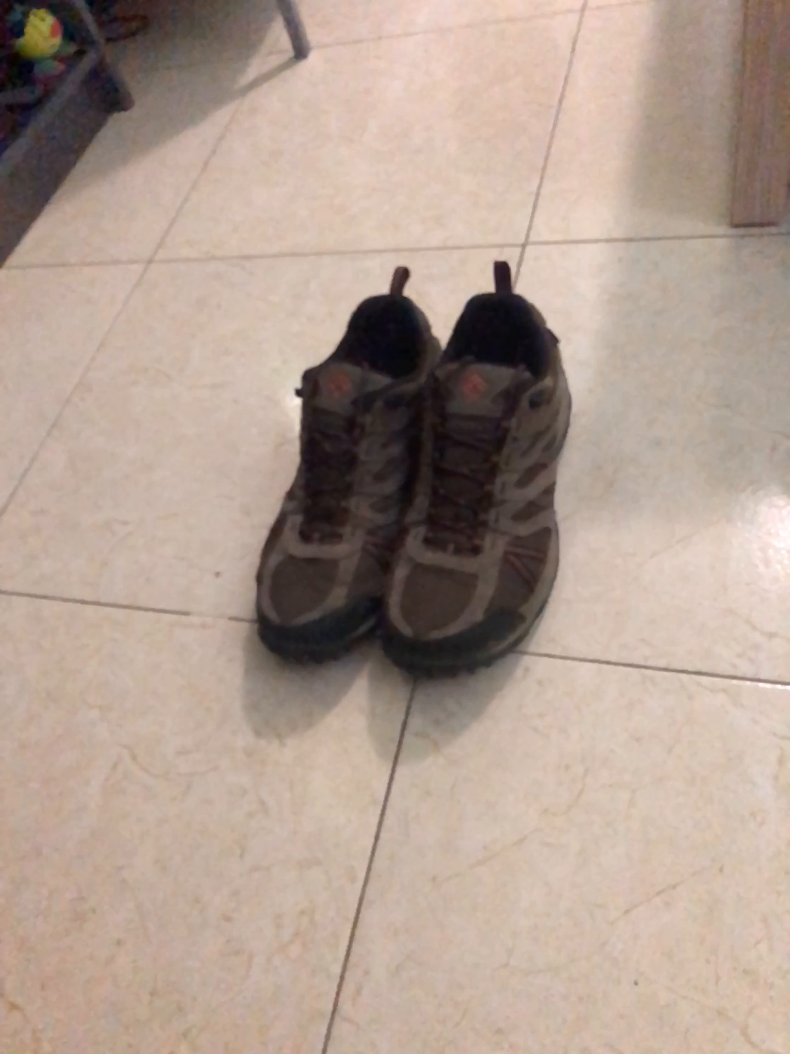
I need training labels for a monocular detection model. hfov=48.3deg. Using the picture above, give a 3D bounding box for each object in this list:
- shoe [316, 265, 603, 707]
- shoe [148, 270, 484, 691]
[{"bbox_3d":[0.065,-0.044,0.656,0.120,0.120,0.311,6,57,21],"label":"shoe"},{"bbox_3d":[-0.042,-0.050,0.676,0.130,0.110,0.311,7,57,22],"label":"shoe"}]
